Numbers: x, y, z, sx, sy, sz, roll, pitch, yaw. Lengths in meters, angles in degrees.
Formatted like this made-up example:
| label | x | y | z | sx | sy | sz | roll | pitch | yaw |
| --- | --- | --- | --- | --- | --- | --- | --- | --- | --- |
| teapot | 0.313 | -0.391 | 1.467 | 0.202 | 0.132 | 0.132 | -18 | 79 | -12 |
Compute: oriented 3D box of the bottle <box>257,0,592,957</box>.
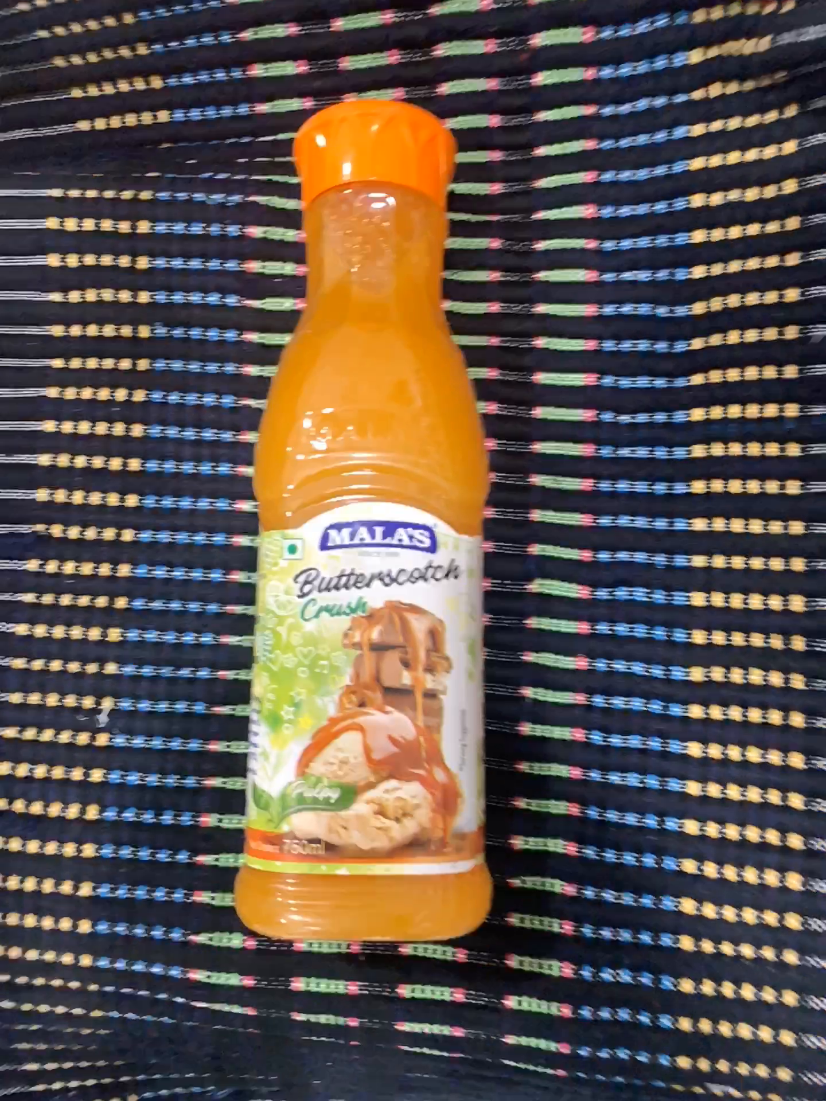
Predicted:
| label | x | y | z | sx | sy | sz | roll | pitch | yaw |
| --- | --- | --- | --- | --- | --- | --- | --- | --- | --- |
| bottle | 0.005 | -0.030 | 0.238 | 0.070 | 0.060 | 0.250 | 1 | 76 | 0 |
